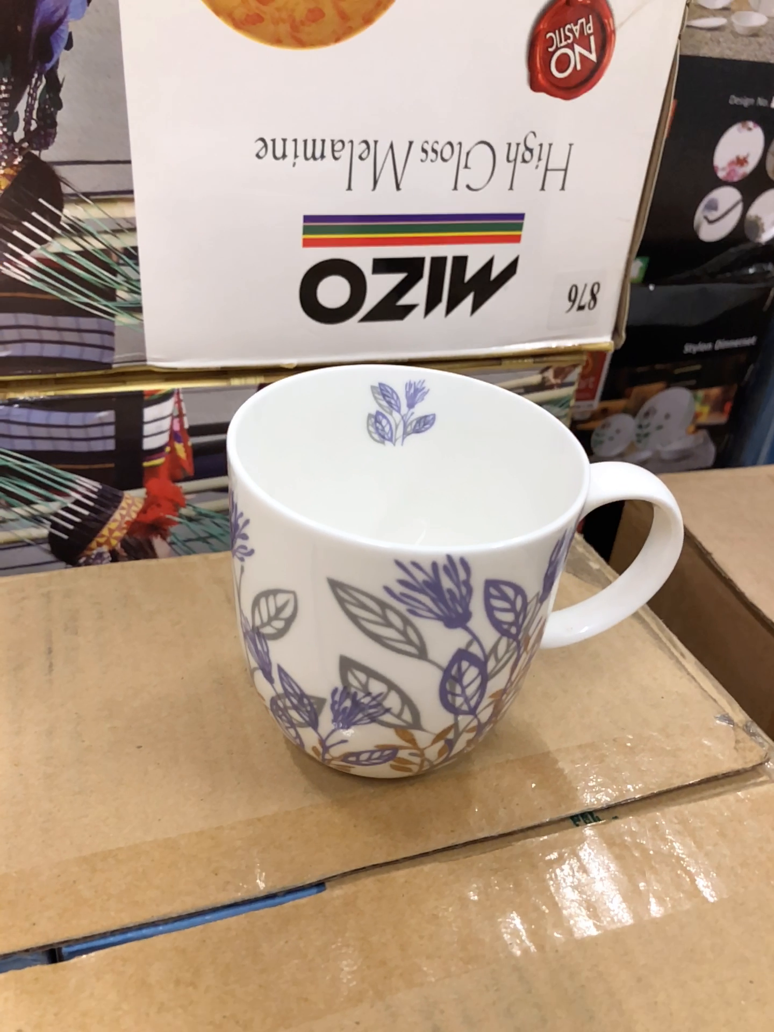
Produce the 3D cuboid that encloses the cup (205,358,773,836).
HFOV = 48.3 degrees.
[{"bbox_3d":[0.019,0.012,0.221,0.120,0.070,0.090,-4,34,-15],"label":"cup"}]
